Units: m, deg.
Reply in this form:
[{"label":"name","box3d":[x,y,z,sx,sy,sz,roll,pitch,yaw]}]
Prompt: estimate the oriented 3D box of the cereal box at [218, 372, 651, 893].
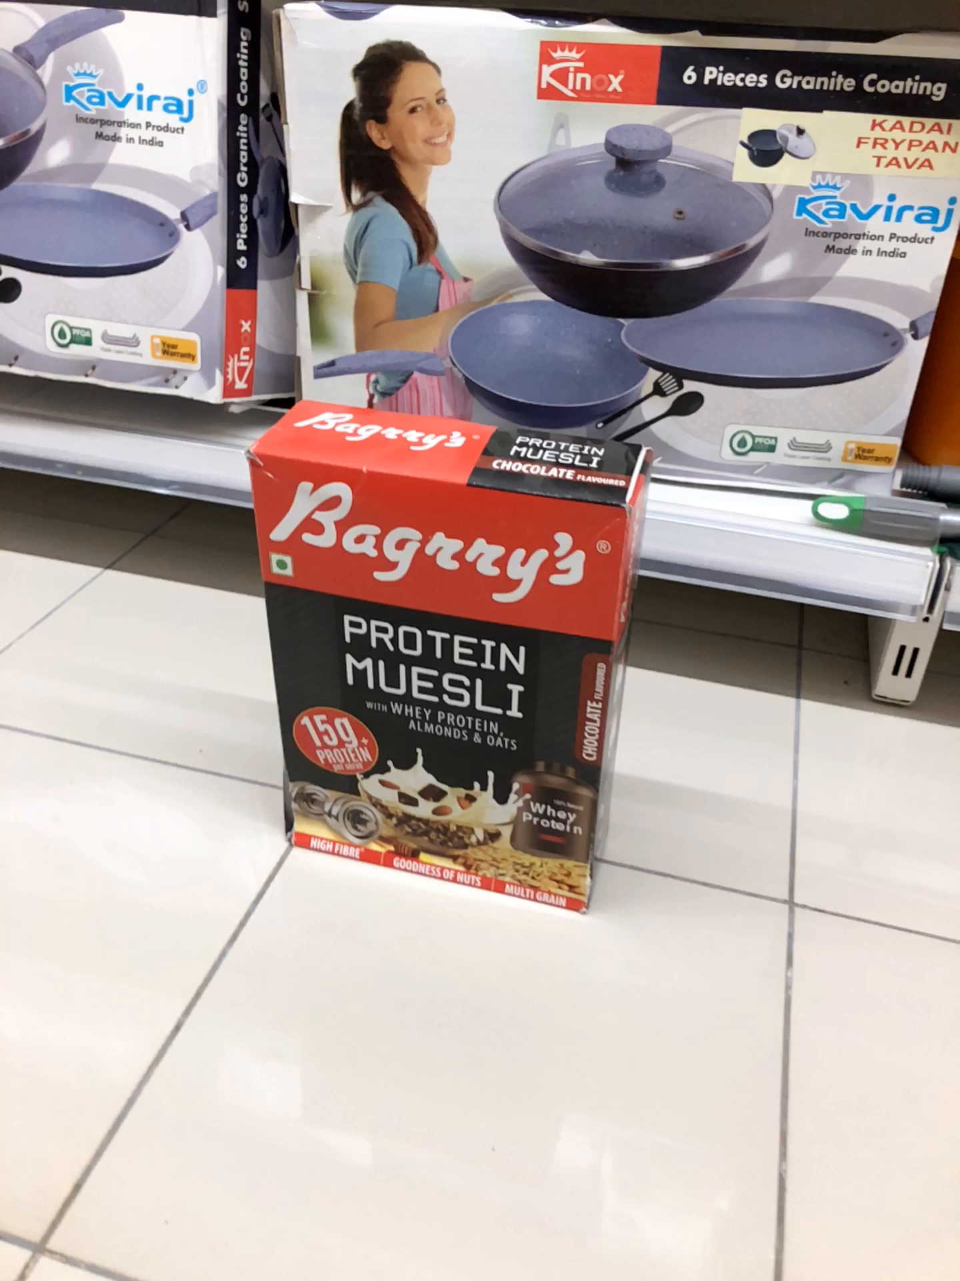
[{"label":"cereal box","box3d":[-0.024,-0.002,0.563,0.190,0.238,0.081,10,32,12]}]
